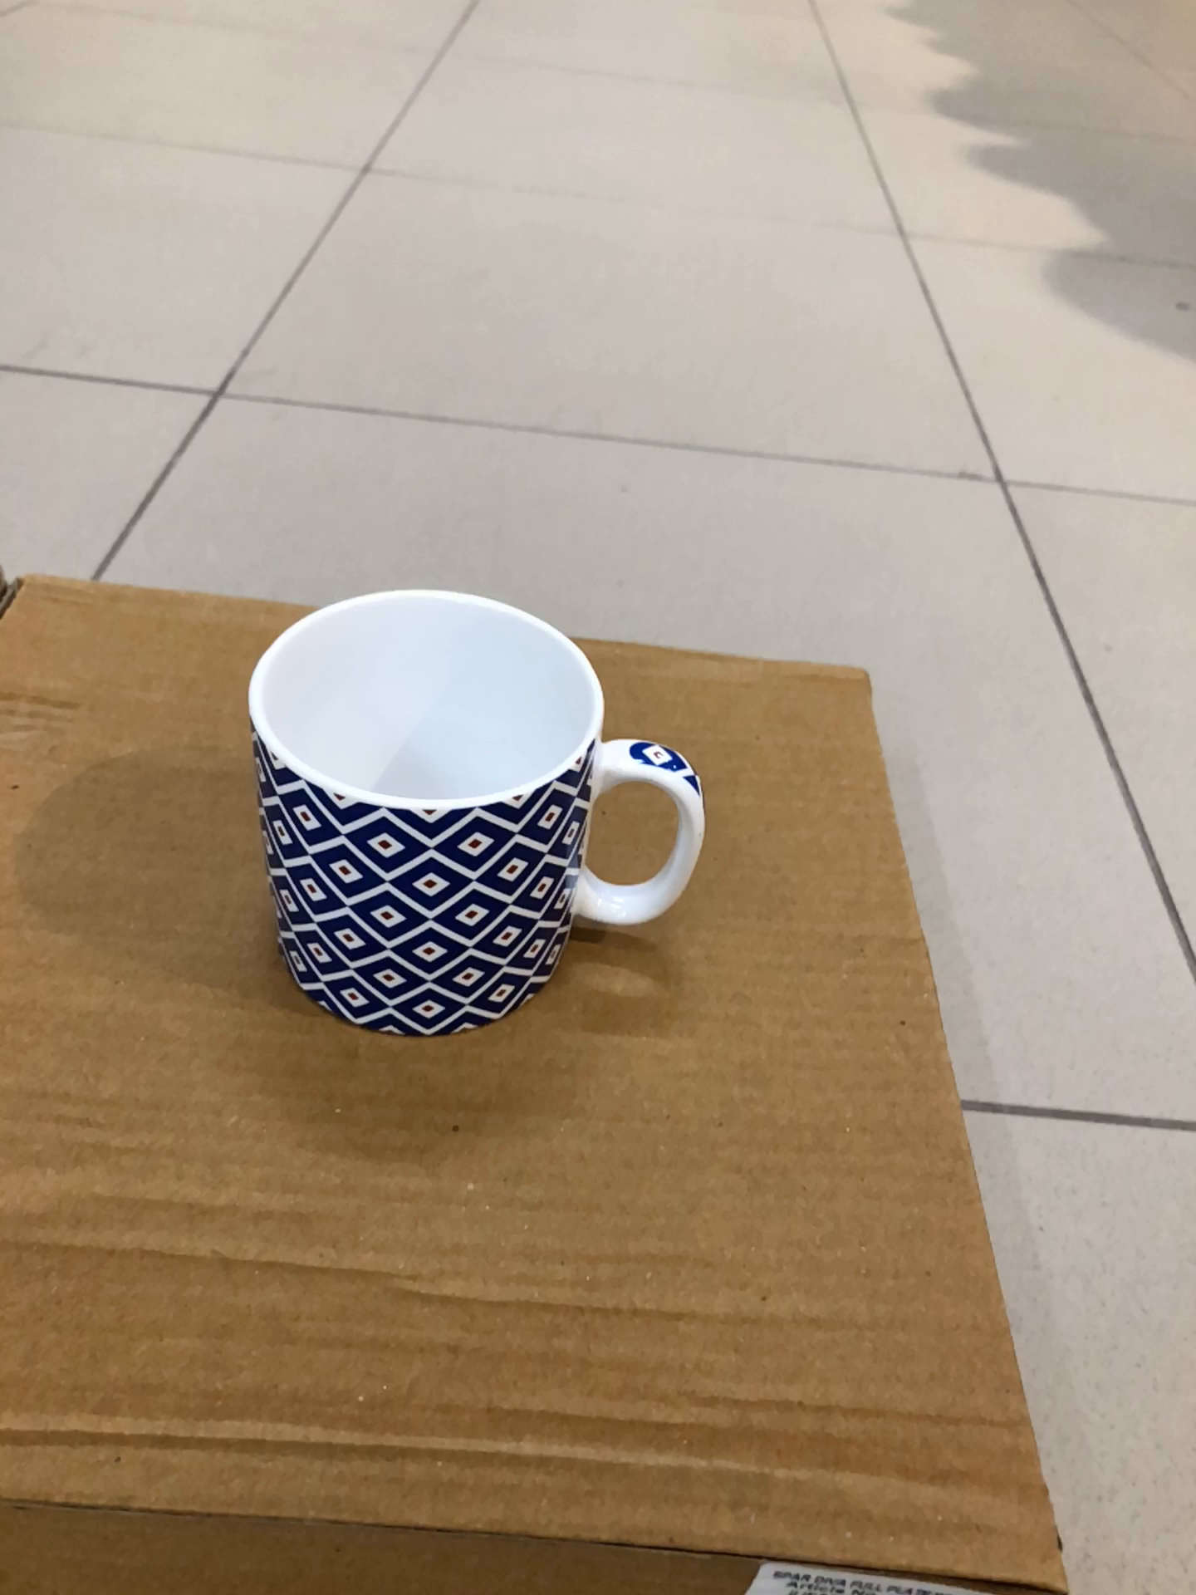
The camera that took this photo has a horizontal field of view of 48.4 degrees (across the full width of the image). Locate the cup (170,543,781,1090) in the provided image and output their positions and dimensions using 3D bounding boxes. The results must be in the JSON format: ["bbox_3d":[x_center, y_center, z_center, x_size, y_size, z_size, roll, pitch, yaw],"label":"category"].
[{"bbox_3d":[-0.025,0.004,0.296,0.110,0.079,0.081,5,39,-3],"label":"cup"}]
